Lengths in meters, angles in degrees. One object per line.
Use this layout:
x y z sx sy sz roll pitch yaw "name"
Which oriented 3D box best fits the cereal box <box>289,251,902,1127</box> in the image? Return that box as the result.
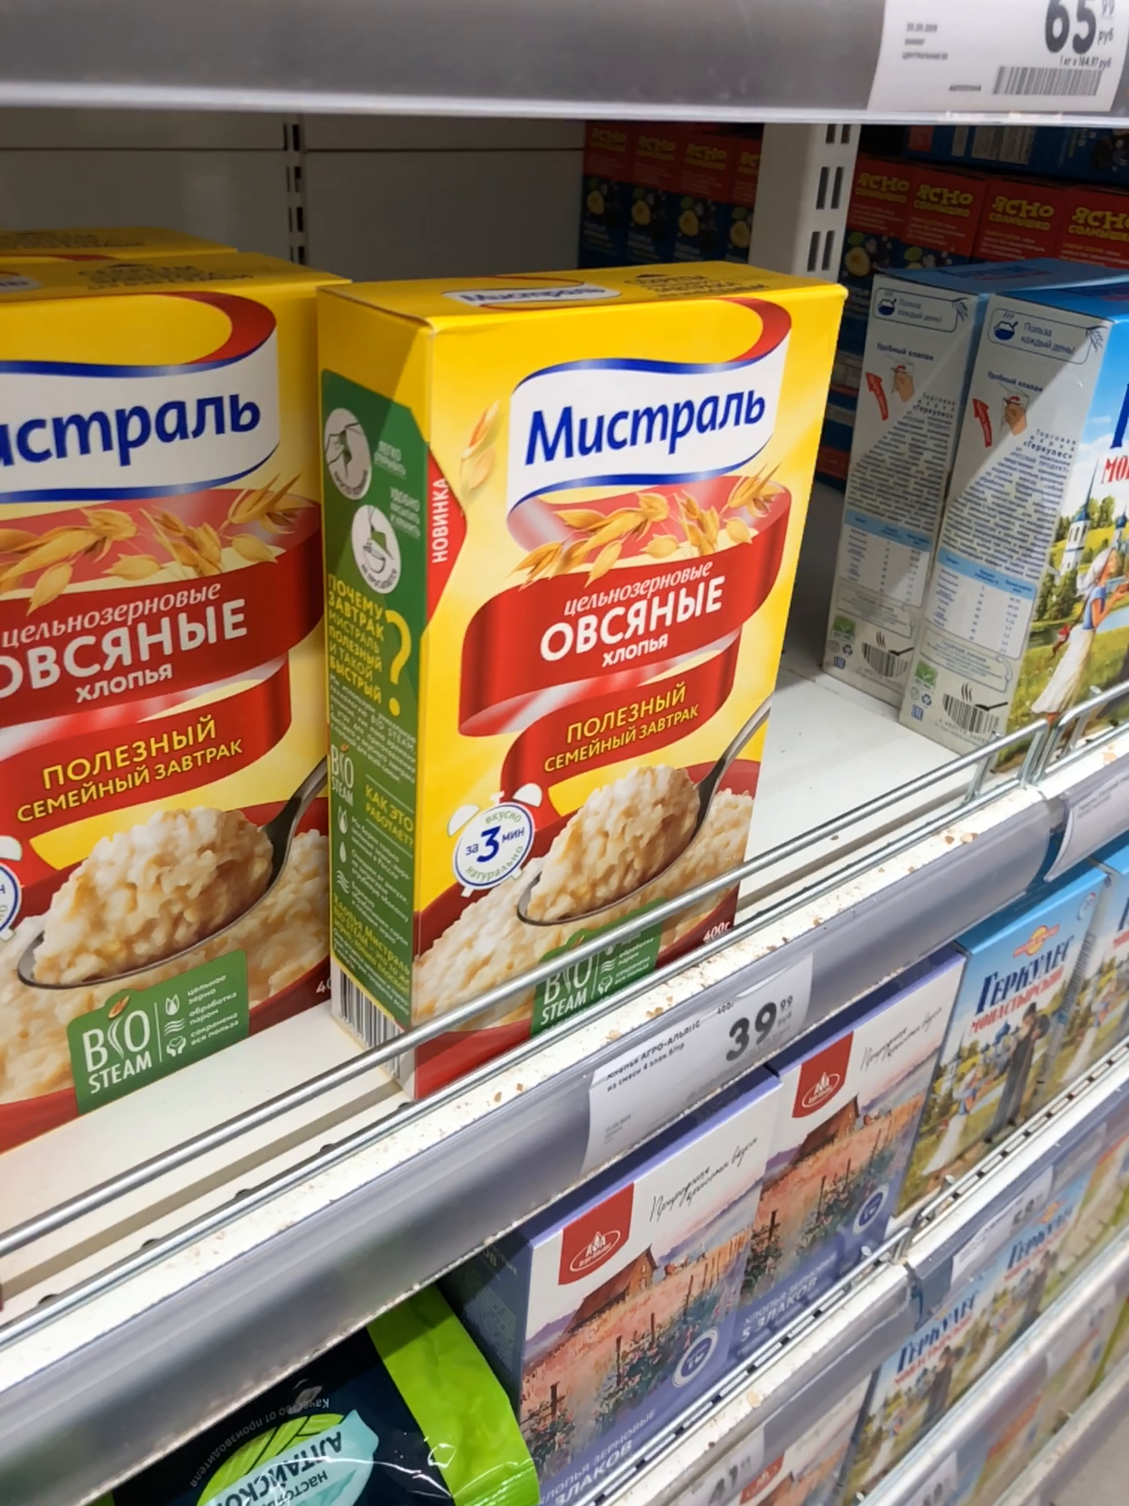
0.008 -0.021 0.347 0.150 0.209 0.050 -19 36 -36 "cereal box"
